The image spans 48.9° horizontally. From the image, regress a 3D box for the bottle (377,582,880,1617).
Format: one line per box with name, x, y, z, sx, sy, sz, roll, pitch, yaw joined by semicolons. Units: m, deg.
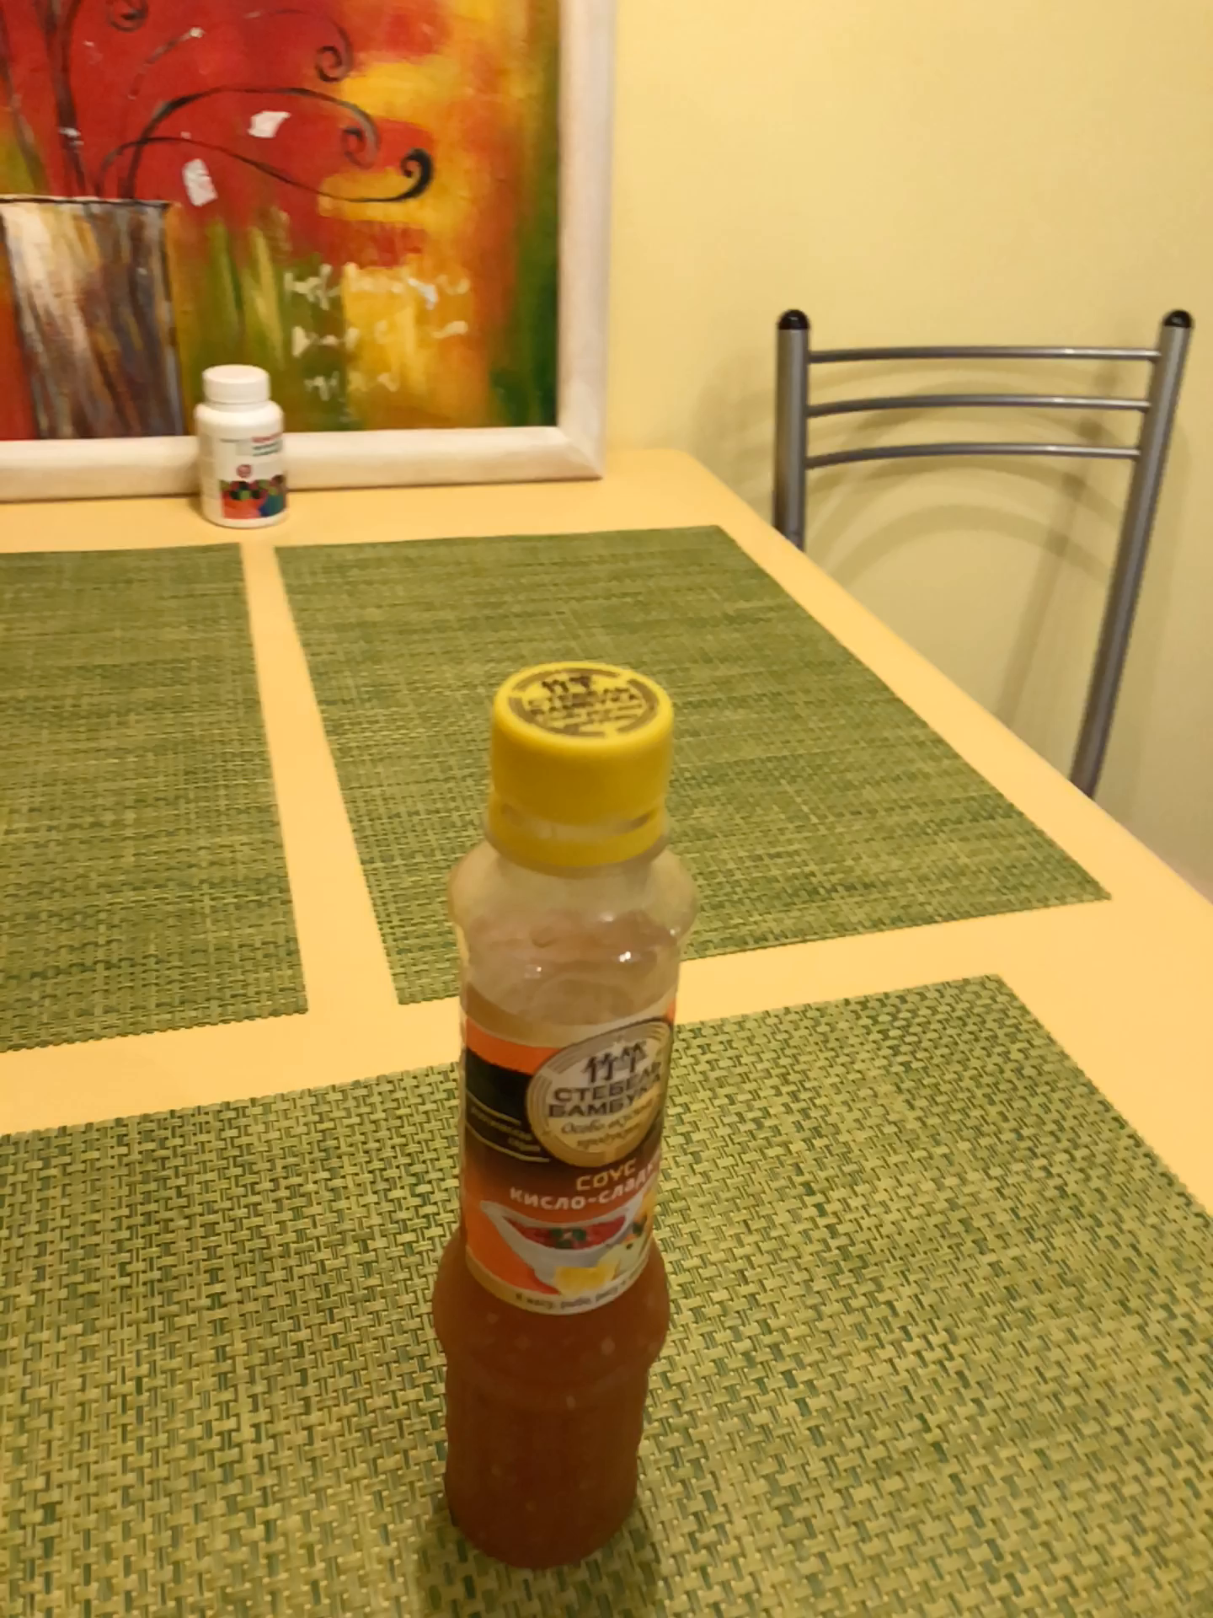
bottle;-0.006;0.067;0.269;0.060;0.208;0.060;4;31;-2
